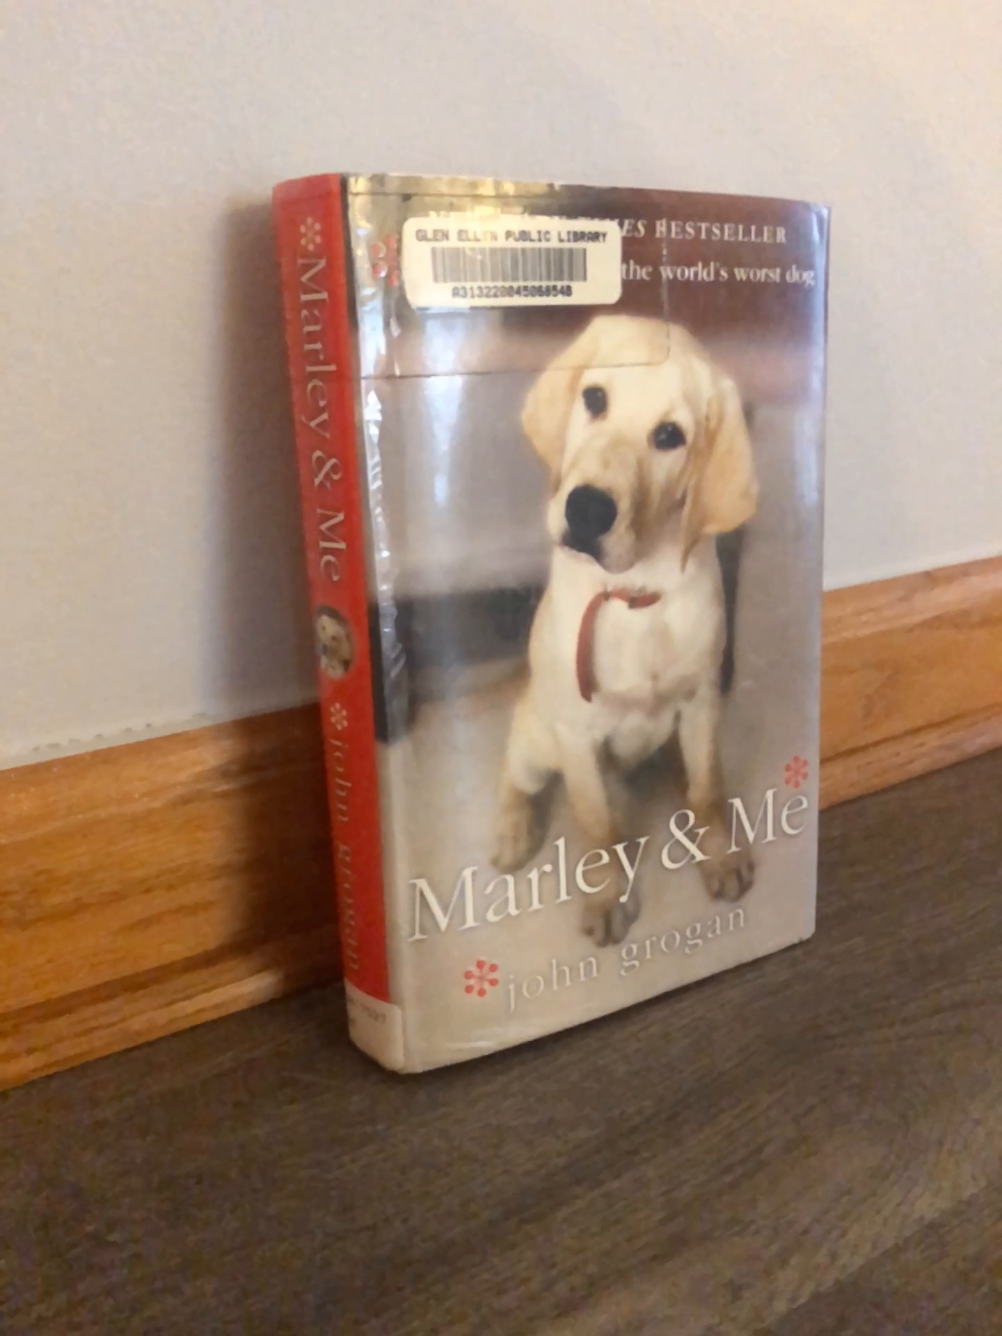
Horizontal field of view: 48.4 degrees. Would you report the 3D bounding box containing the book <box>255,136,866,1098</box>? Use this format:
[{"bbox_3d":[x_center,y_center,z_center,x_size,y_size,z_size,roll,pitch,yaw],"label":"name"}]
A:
[{"bbox_3d":[0.025,-0.017,0.300,0.151,0.219,0.040,-11,16,-27],"label":"book"}]
